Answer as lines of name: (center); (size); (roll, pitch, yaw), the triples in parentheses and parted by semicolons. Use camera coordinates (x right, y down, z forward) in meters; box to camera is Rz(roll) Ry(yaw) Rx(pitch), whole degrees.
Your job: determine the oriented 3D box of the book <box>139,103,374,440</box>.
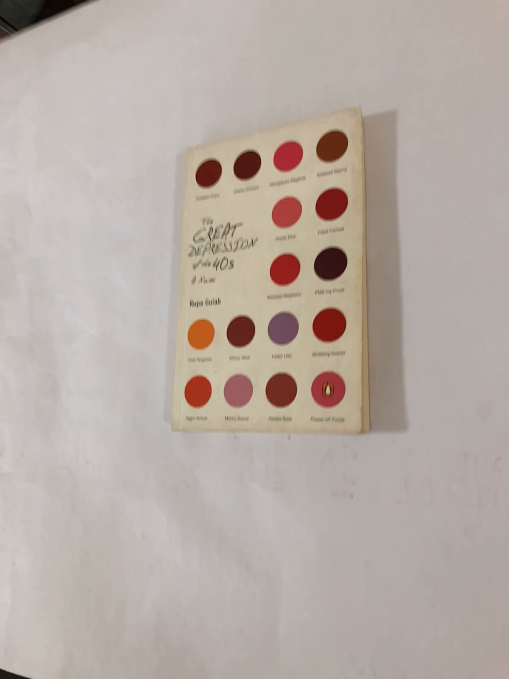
book: (0.000, -0.036, 0.352); (0.140, 0.030, 0.190); (-4, 78, 27)
